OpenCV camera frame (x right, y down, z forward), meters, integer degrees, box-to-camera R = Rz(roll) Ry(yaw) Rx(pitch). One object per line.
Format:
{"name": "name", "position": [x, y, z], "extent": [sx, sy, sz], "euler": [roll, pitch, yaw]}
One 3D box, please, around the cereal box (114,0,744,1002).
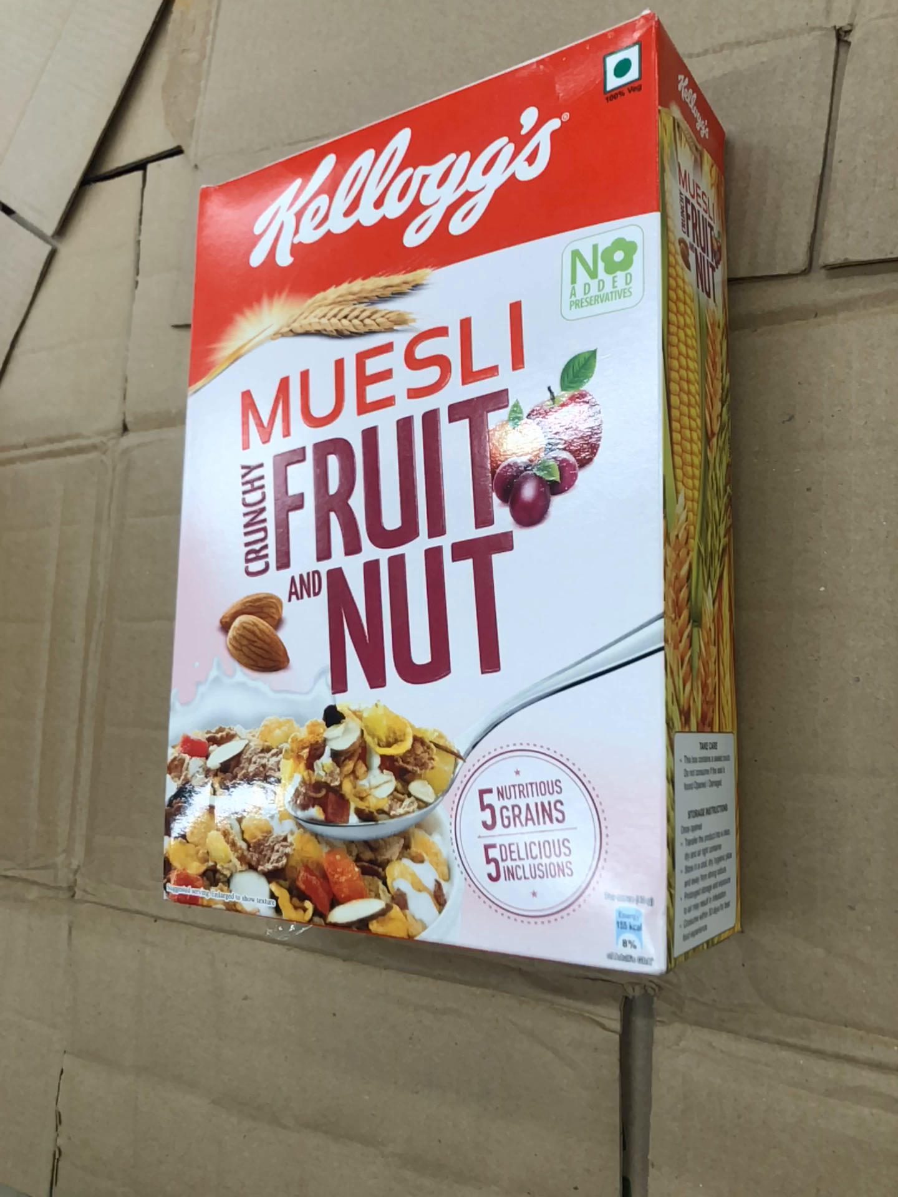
{"name": "cereal box", "position": [-0.008, -0.026, 0.312], "extent": [0.170, 0.080, 0.250], "euler": [-4, 80, 33]}
